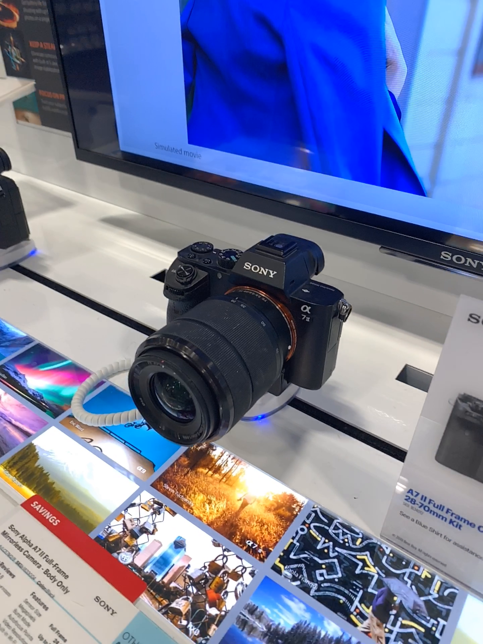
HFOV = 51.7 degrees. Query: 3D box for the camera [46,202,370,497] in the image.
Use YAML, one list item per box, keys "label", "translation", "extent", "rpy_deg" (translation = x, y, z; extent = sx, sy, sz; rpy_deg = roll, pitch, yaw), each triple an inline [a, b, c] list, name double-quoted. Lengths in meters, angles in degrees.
- label: "camera"
  translation: [-0.014, 0.002, 0.319]
  extent: [0.130, 0.090, 0.142]
  rpy_deg: [22, 40, 29]
